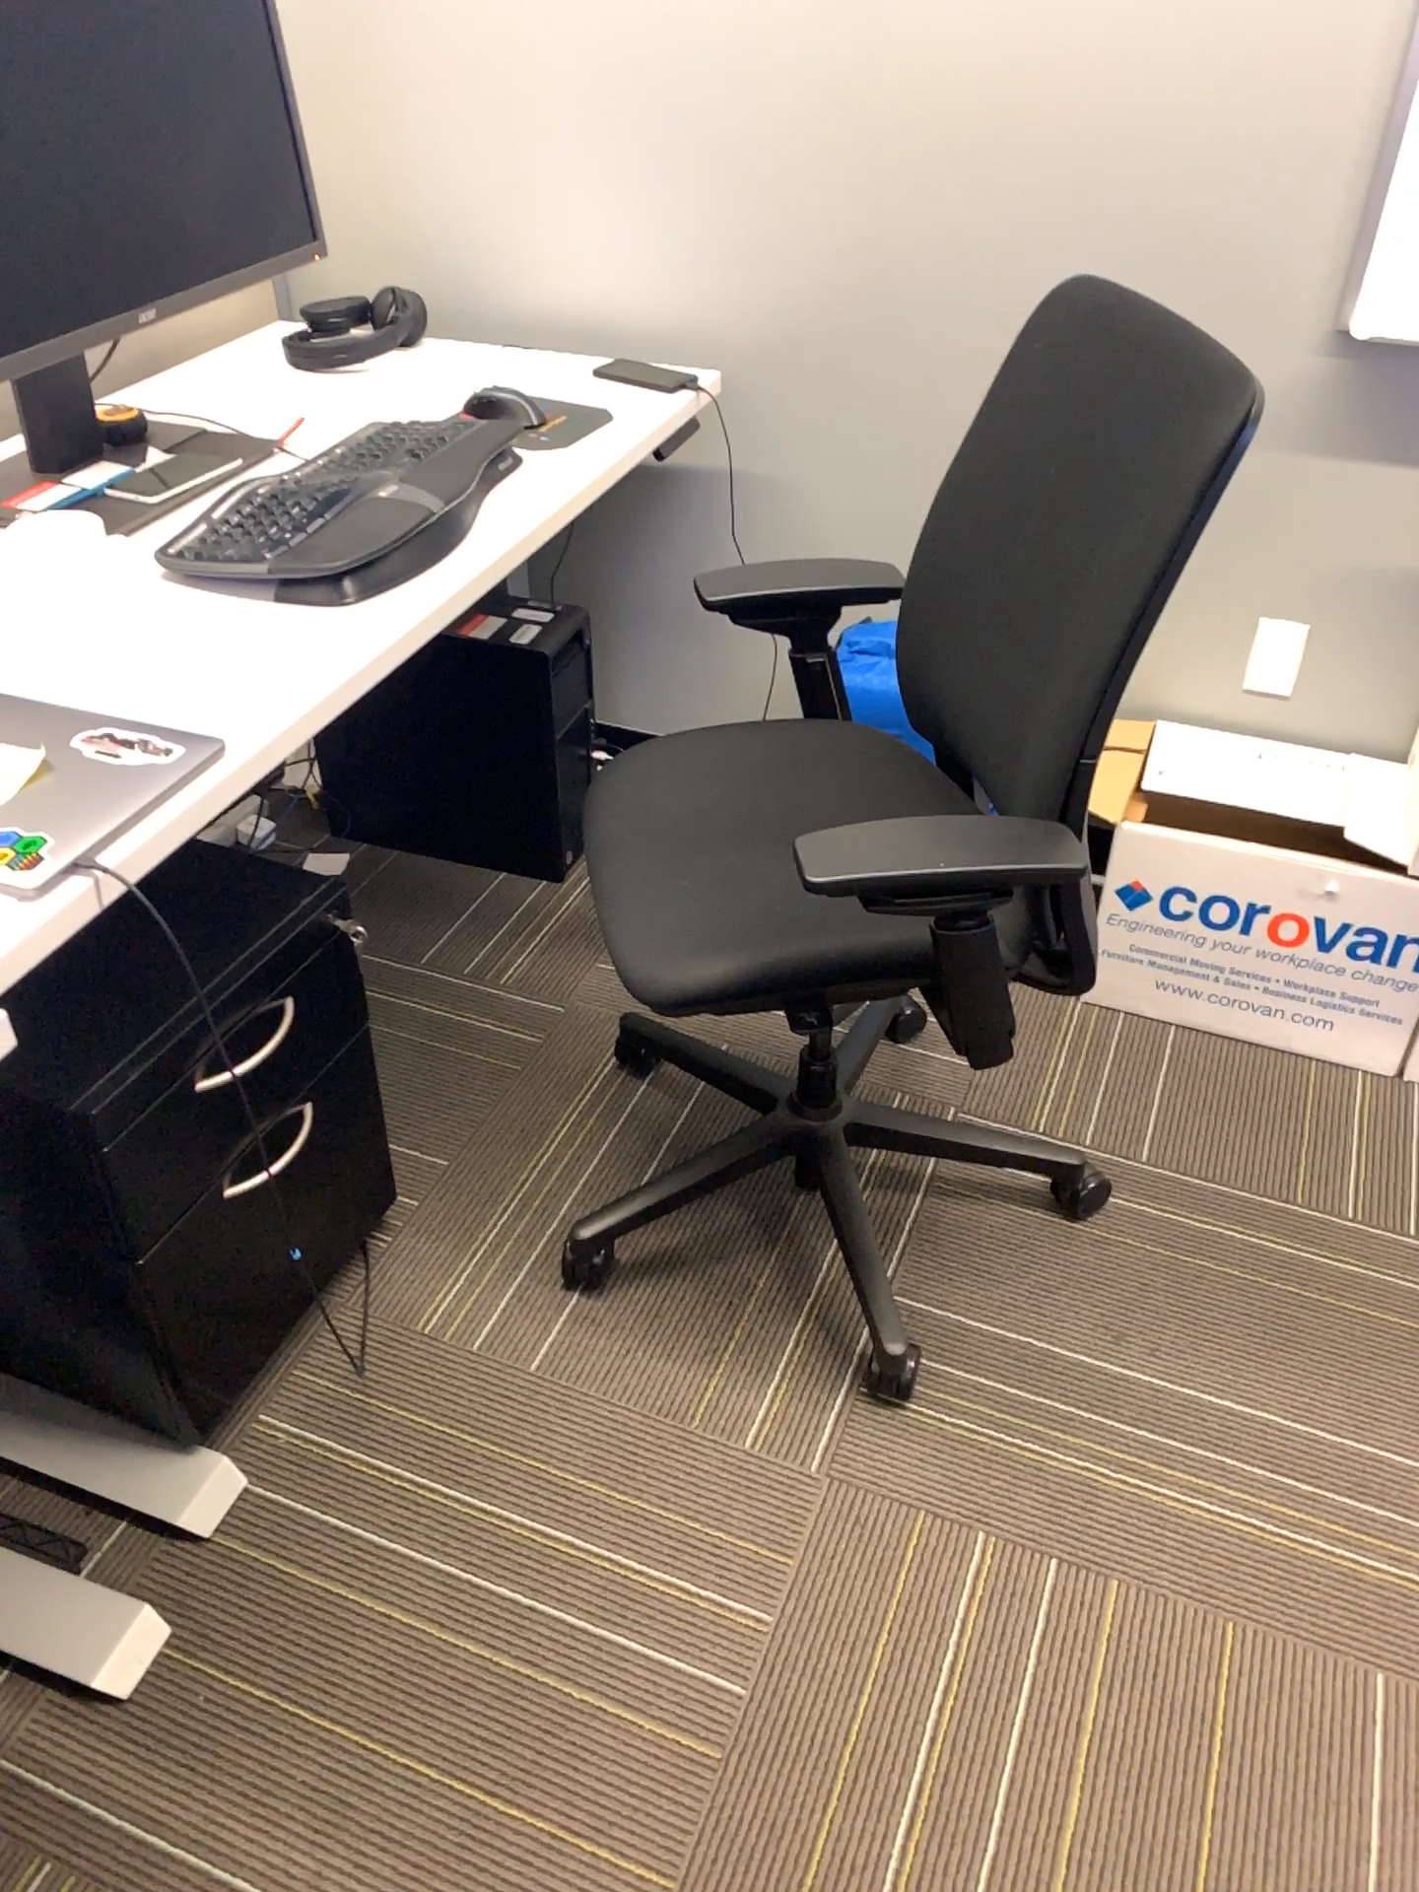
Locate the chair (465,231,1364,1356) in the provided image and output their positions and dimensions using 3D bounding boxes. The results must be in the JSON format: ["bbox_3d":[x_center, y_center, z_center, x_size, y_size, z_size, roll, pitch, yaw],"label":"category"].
[{"bbox_3d":[0.108,-0.216,1.673,0.610,0.945,0.834,-8,38,-12],"label":"chair"}]
